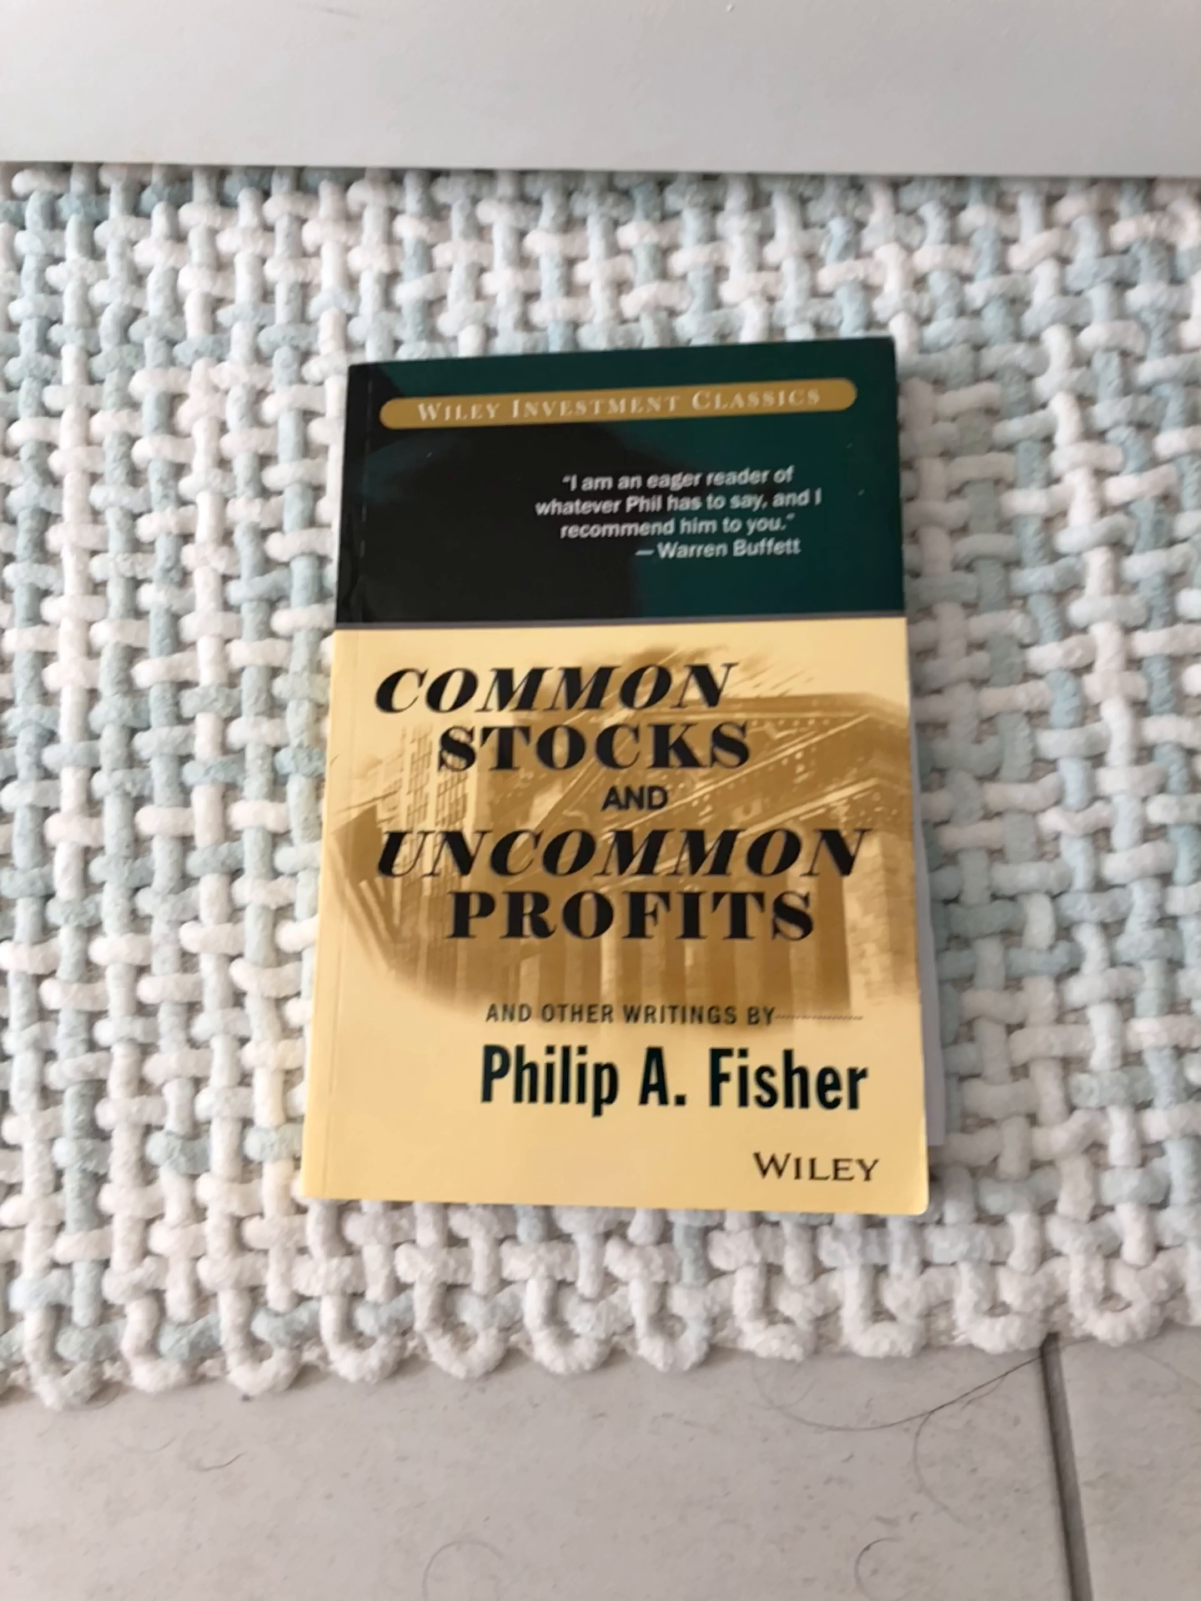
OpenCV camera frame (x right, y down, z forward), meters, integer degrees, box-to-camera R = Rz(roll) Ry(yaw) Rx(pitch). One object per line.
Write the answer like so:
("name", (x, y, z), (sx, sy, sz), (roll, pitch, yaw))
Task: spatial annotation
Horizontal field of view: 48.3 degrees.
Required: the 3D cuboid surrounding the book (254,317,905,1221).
("book", (-0.004, -0.014, 0.378), (0.166, 0.027, 0.247), (0, 78, 6))
